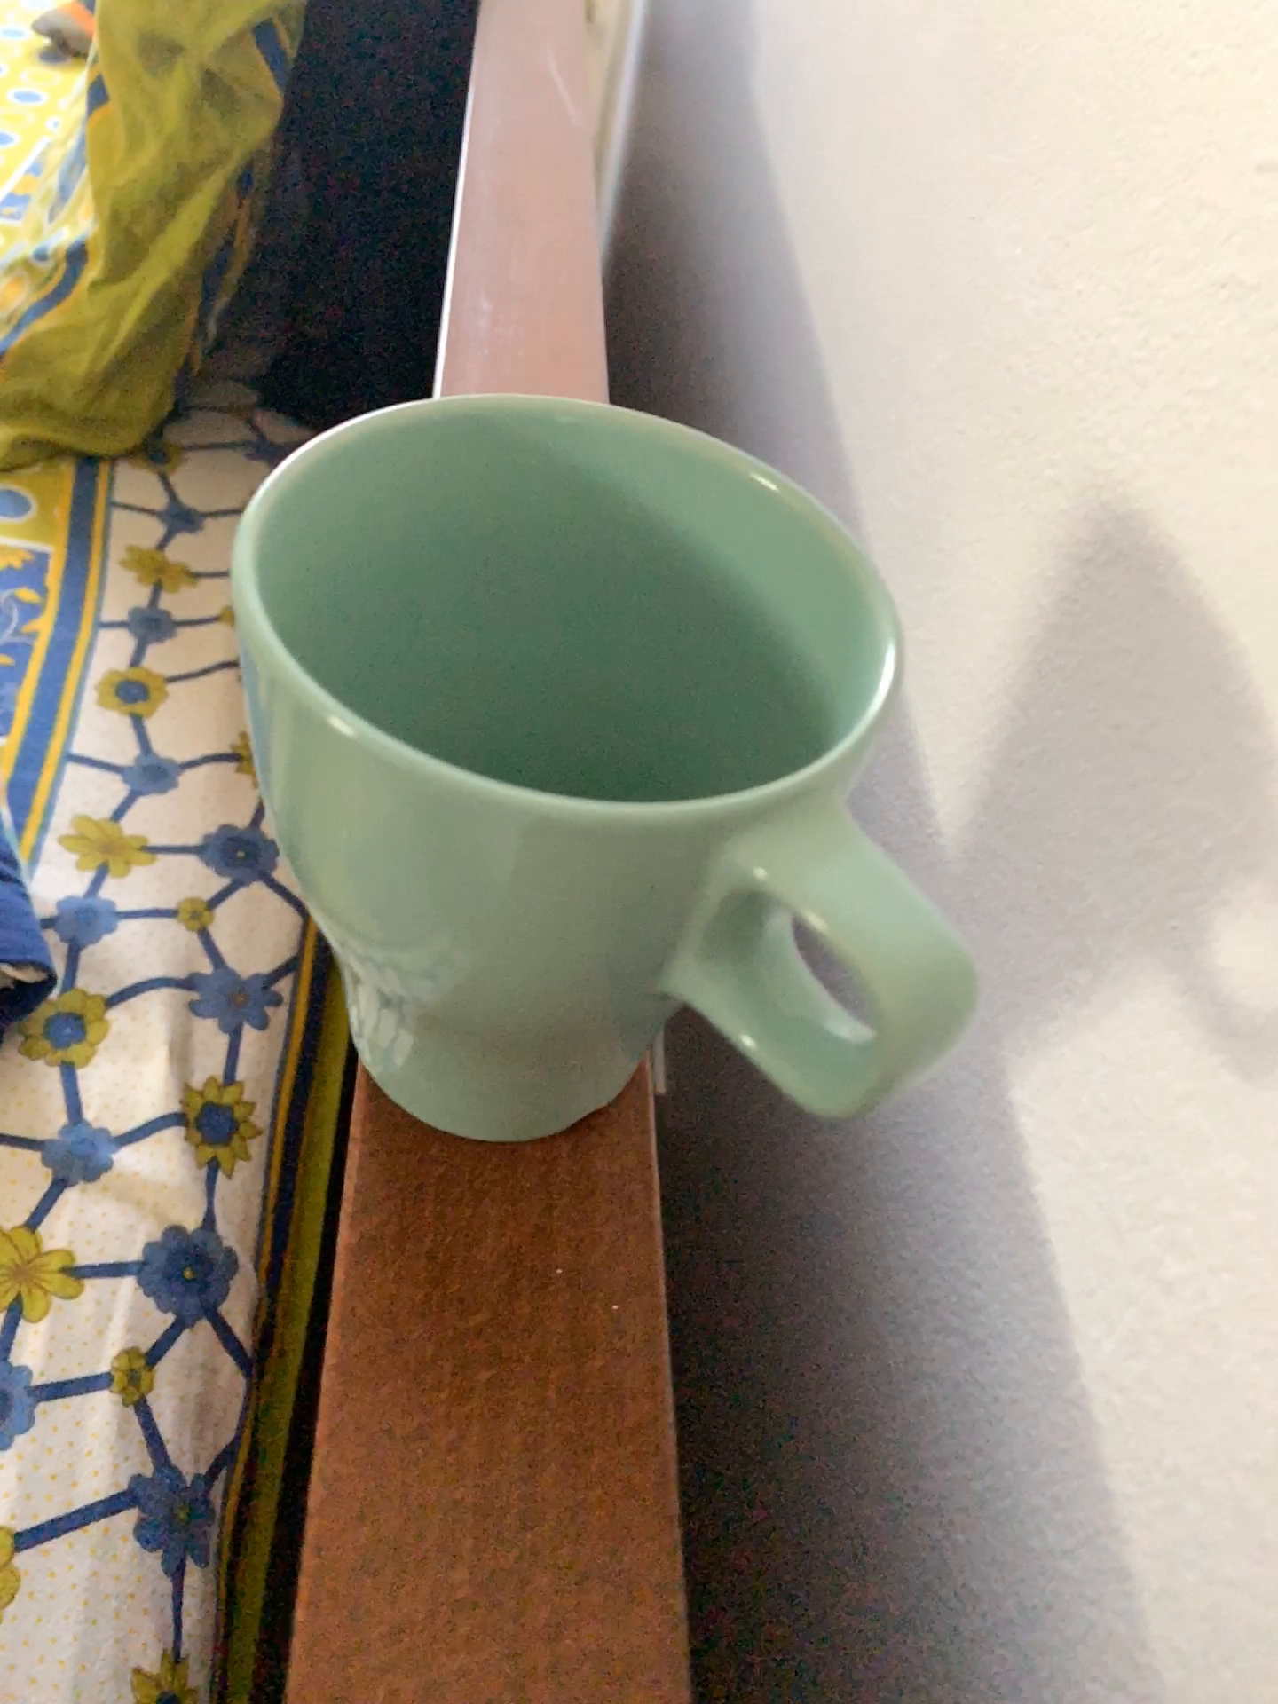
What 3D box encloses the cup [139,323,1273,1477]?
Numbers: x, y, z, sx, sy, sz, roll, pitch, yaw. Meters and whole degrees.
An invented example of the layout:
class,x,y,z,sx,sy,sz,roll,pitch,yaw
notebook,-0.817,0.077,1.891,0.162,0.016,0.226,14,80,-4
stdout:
class,x,y,z,sx,sy,sz,roll,pitch,yaw
cup,0.000,0.002,0.198,0.082,0.091,0.123,-30,62,-30
